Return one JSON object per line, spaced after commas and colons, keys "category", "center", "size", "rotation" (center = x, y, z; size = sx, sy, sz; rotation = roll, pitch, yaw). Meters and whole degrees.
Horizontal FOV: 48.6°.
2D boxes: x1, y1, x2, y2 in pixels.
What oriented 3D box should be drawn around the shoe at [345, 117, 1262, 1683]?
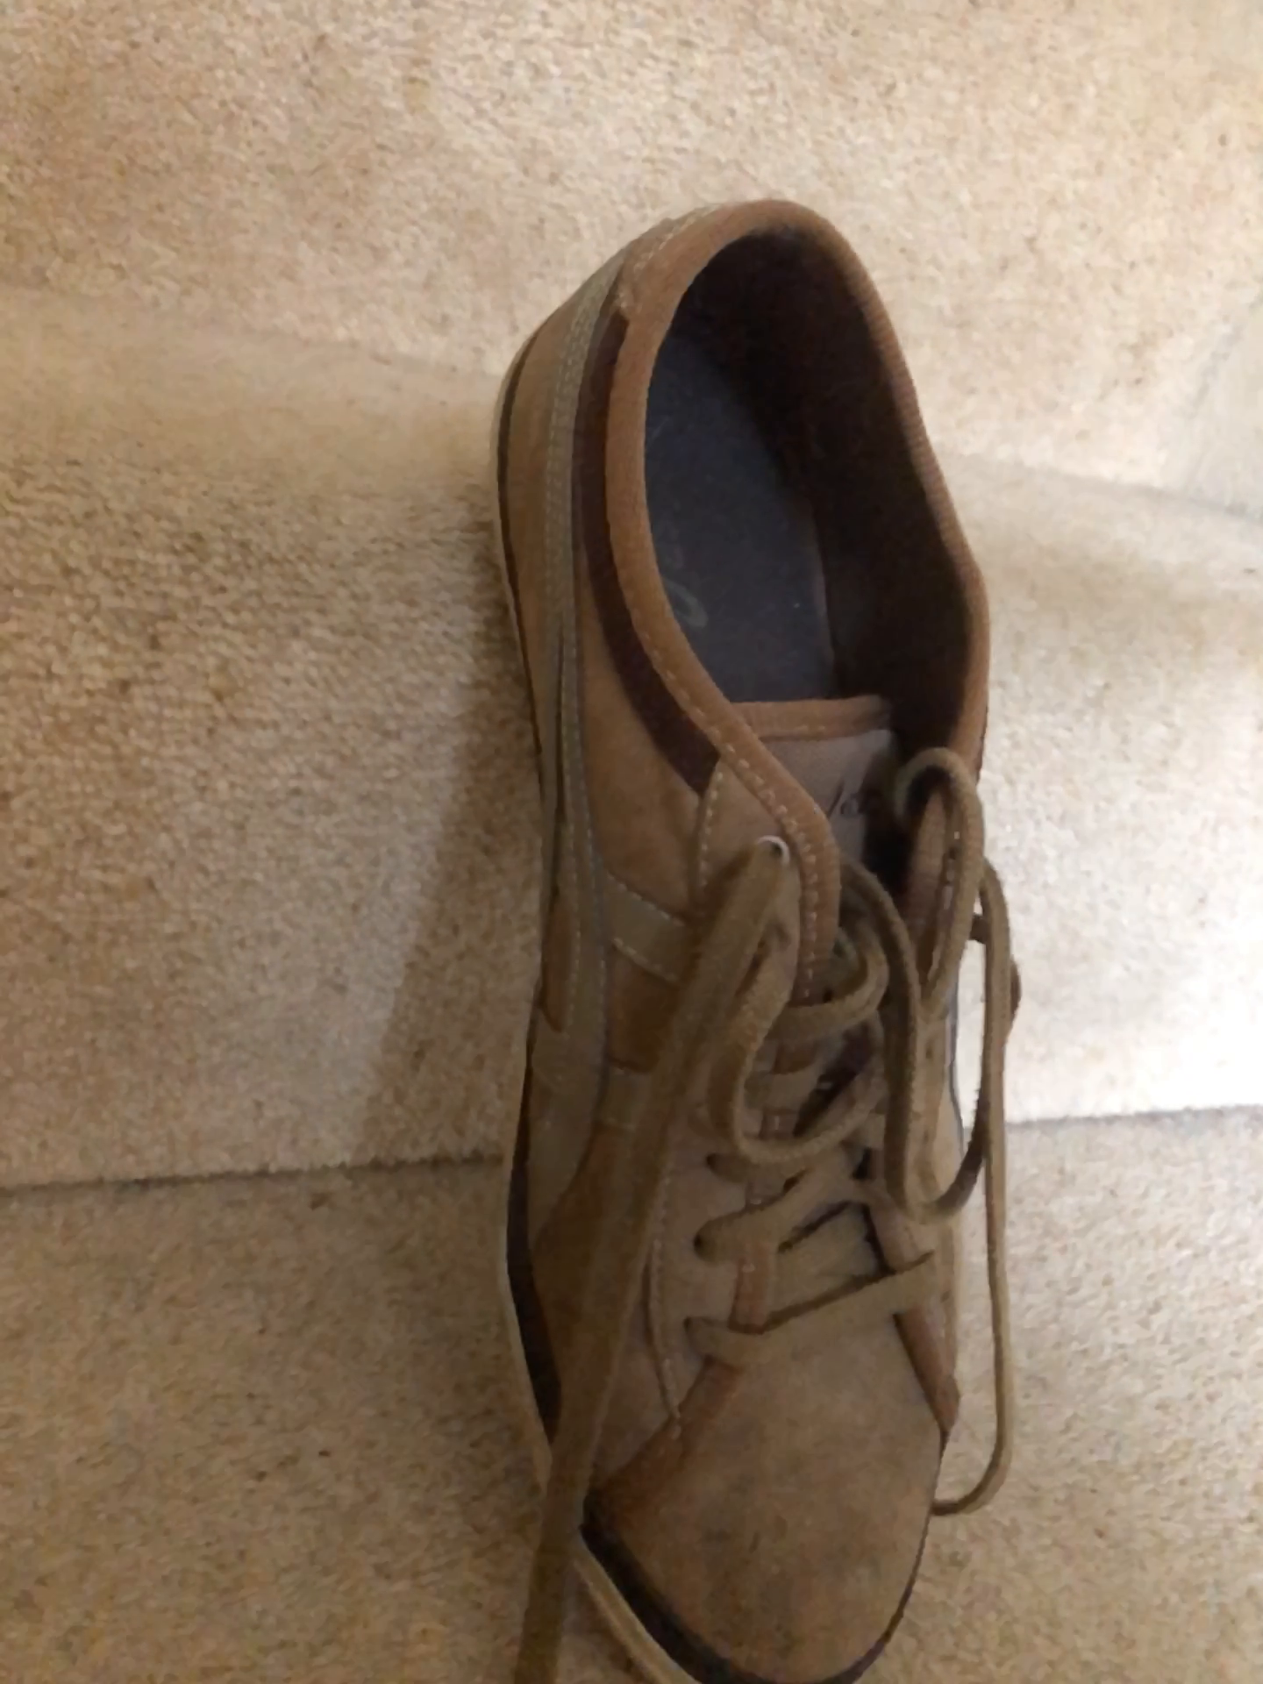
{"category": "shoe", "center": [0.019, 0.033, 0.283], "size": [0.110, 0.301, 0.119], "rotation": [-3, -13, -22]}
